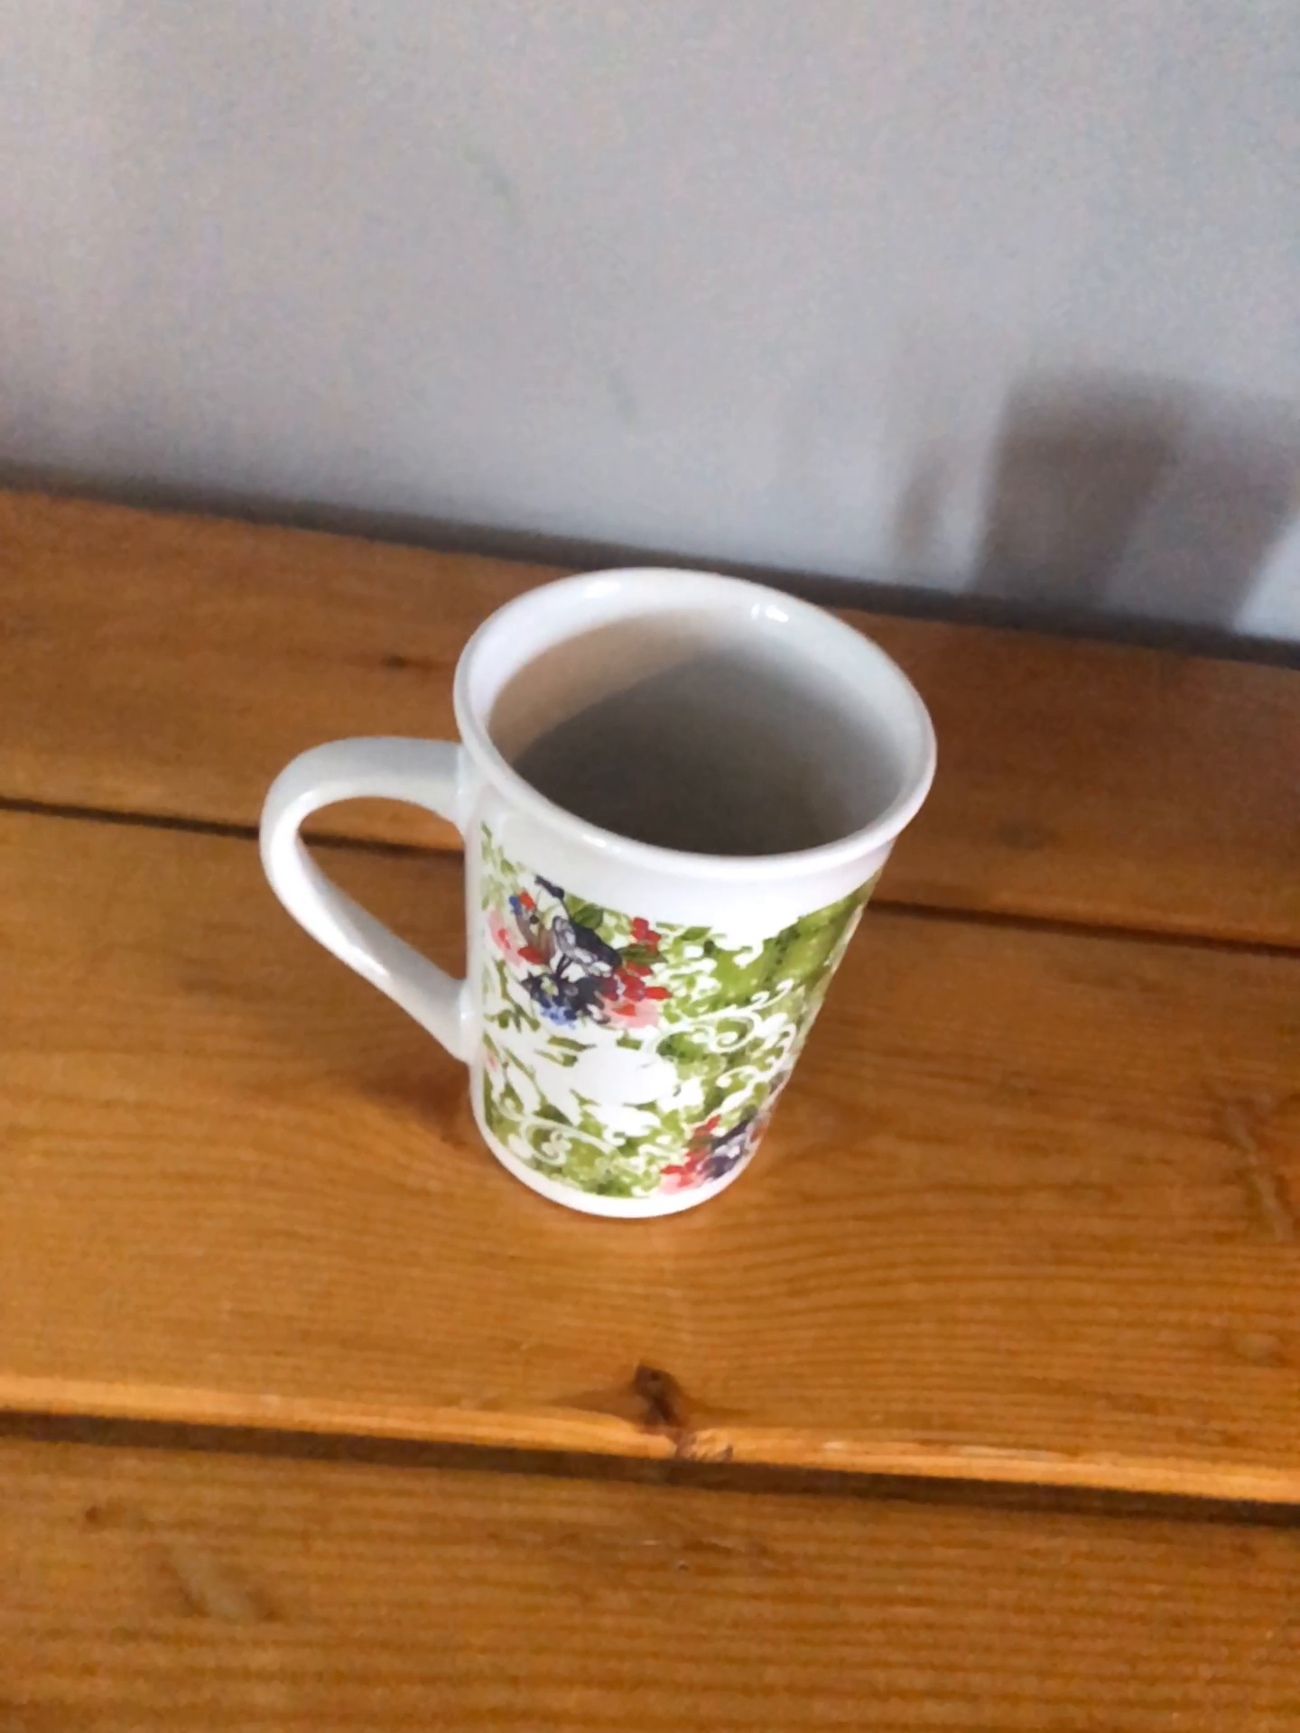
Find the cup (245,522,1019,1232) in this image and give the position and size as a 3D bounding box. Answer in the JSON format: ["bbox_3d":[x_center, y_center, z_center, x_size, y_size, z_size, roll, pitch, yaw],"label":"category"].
[{"bbox_3d":[-0.013,0.008,0.314,0.130,0.120,0.090,3,46,-10],"label":"cup"}]
